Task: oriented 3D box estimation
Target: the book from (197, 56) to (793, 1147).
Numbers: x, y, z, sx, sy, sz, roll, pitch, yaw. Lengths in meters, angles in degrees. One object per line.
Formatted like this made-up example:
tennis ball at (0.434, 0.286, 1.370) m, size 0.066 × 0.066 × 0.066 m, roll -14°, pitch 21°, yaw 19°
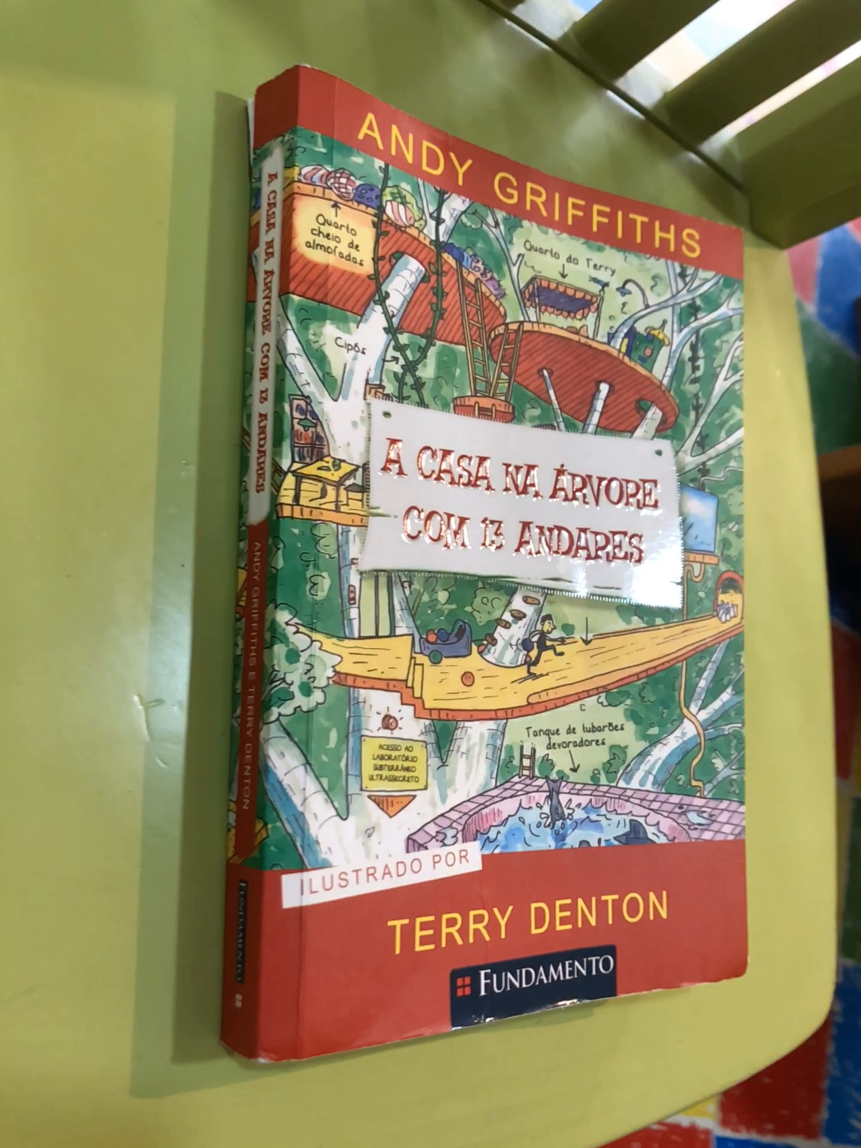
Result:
book at (0.022, 0.006, 0.234) m, size 0.138 × 0.040 × 0.210 m, roll 6°, pitch 79°, yaw -32°
